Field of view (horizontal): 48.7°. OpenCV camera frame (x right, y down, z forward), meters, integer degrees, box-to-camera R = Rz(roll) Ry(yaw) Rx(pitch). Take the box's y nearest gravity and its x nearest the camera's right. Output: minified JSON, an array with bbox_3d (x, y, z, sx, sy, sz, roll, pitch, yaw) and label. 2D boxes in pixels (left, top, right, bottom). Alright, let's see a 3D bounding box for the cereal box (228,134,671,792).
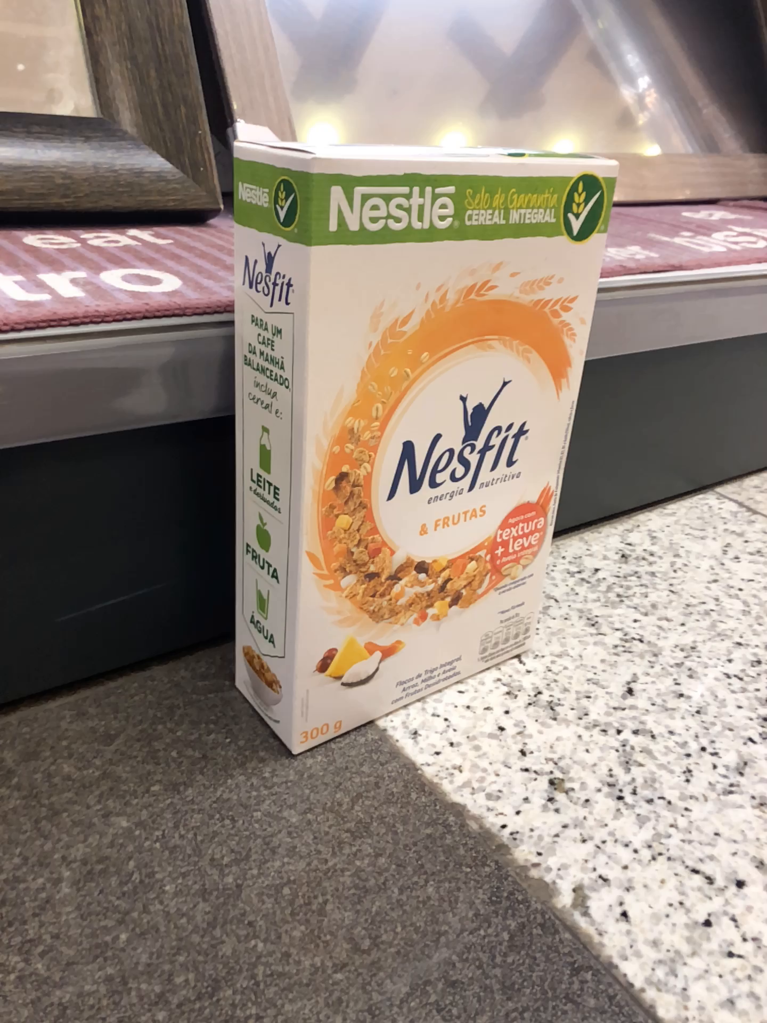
[{"bbox_3d":[0.022,-0.025,0.371,0.171,0.248,0.060,-17,34,-36],"label":"cereal box"}]
